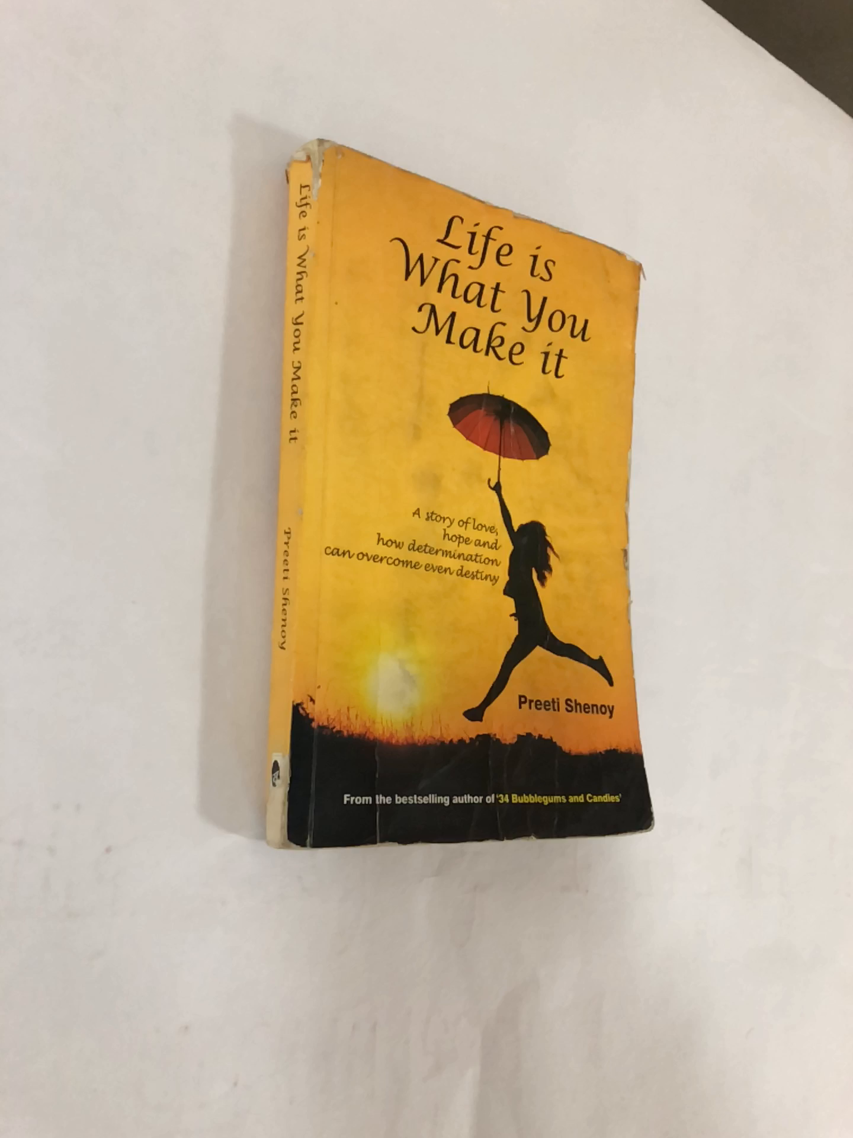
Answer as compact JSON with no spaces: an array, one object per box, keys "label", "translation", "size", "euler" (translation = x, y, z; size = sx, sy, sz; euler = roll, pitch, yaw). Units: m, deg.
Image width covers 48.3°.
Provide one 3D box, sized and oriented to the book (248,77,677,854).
[{"label":"book","translation":[0.018,-0.025,0.295],"size":[0.141,0.020,0.210],"euler":[8,76,-35]}]
